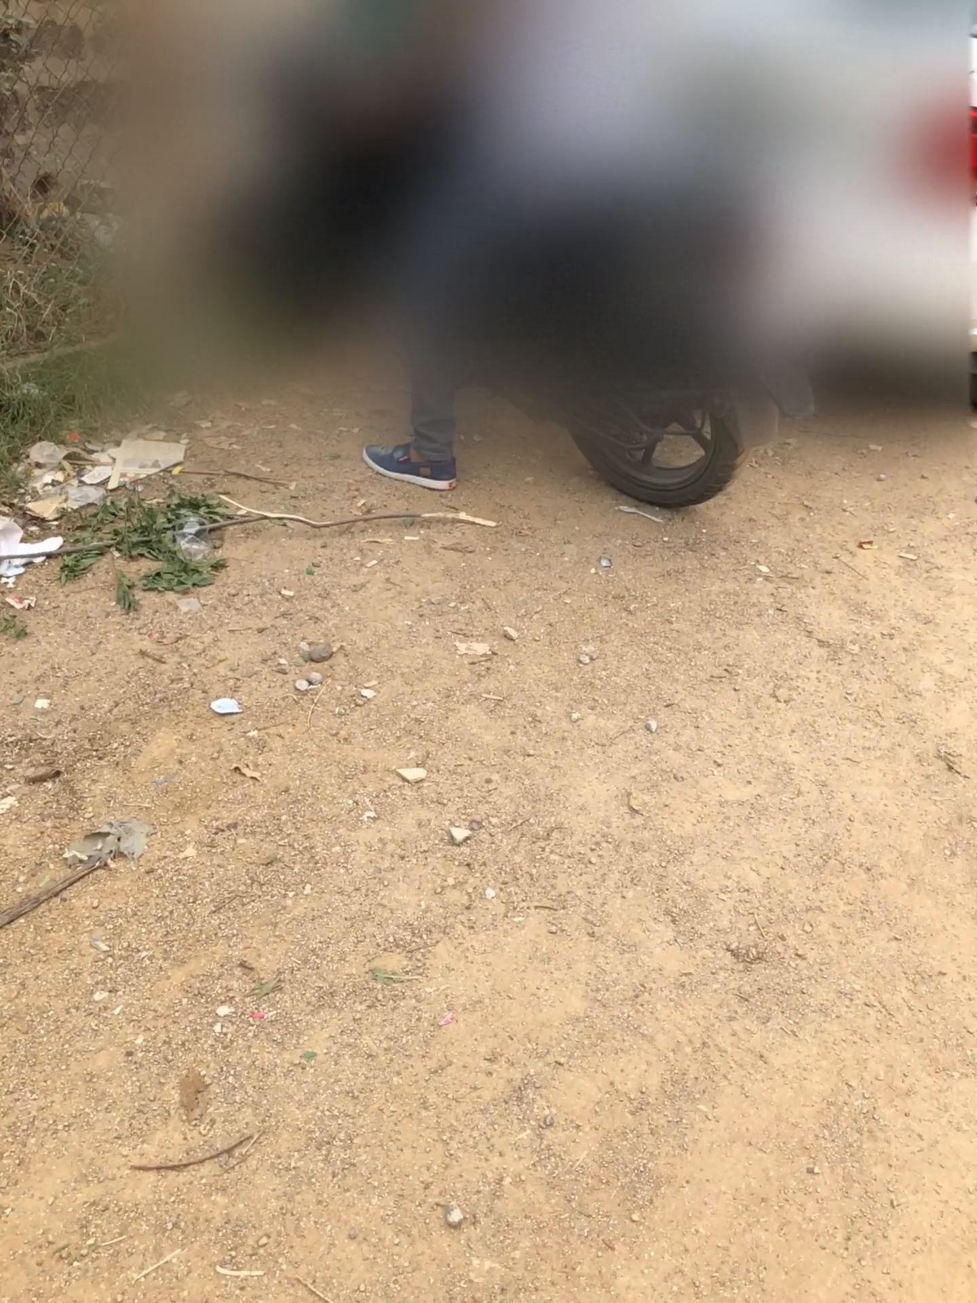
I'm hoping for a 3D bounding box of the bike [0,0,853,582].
[{"bbox_3d":[-0.183,-1.069,2.379,1.618,1.095,0.530,26,39,21],"label":"bike"}]
